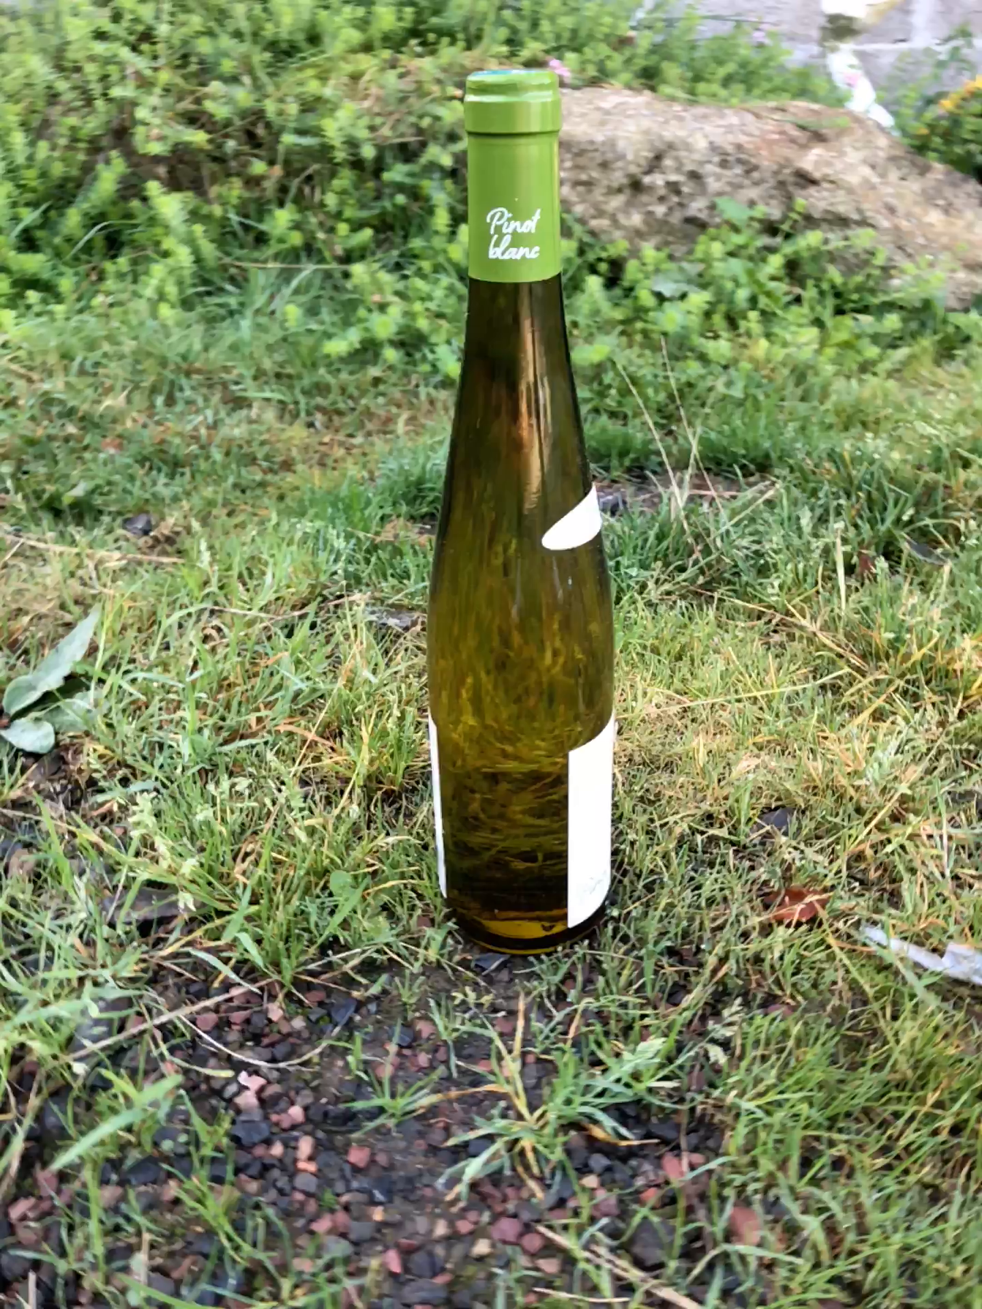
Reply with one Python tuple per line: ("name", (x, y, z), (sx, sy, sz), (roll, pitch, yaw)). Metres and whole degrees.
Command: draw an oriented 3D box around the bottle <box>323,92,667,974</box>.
("bottle", (0.015, -0.031, 0.413), (0.090, 0.318, 0.091), (-3, 30, 2))
